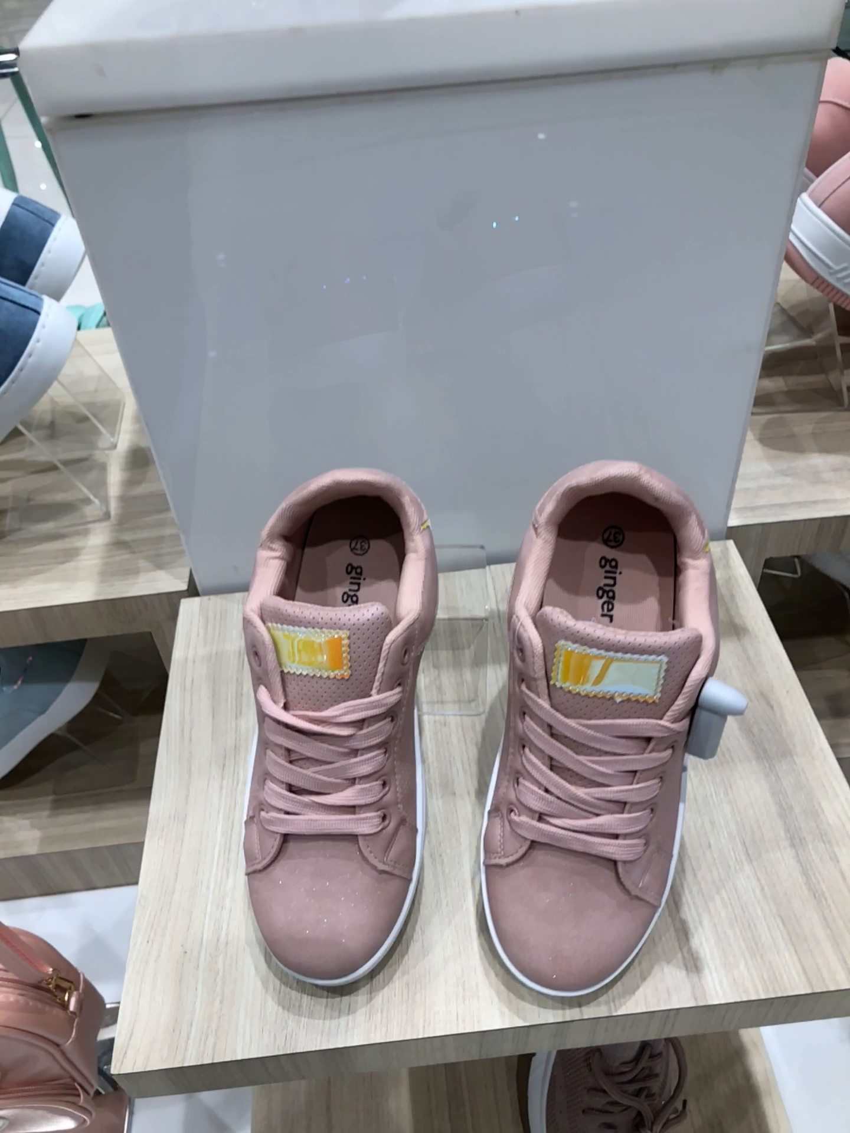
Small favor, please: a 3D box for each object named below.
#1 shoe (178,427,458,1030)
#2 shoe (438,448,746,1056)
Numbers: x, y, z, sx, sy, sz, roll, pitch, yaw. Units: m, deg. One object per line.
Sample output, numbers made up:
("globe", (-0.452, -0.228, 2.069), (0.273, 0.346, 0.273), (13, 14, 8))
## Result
("shoe", (-0.045, 0.070, 0.469), (0.100, 0.100, 0.260), (2, 84, 9))
("shoe", (0.082, 0.077, 0.456), (0.100, 0.250, 0.100), (8, 2, 13))
